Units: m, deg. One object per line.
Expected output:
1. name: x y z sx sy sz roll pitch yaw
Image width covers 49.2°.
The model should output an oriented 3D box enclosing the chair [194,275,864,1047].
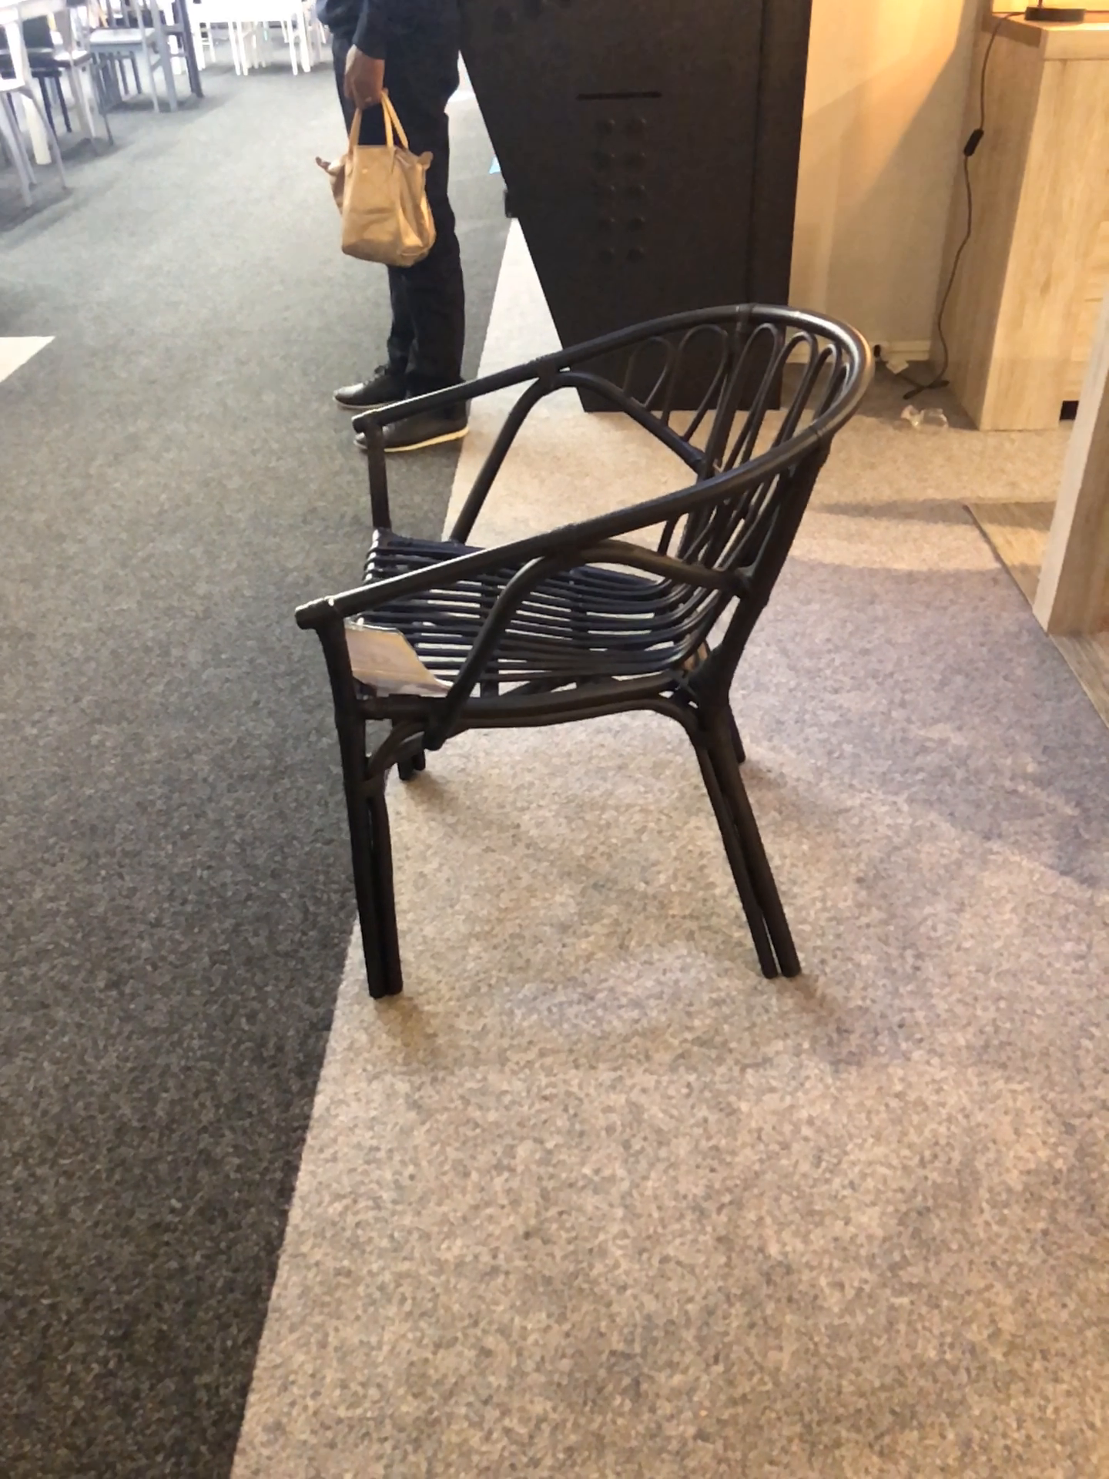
1. chair: -0.007 -0.104 1.430 0.560 0.736 0.533 0 32 2
